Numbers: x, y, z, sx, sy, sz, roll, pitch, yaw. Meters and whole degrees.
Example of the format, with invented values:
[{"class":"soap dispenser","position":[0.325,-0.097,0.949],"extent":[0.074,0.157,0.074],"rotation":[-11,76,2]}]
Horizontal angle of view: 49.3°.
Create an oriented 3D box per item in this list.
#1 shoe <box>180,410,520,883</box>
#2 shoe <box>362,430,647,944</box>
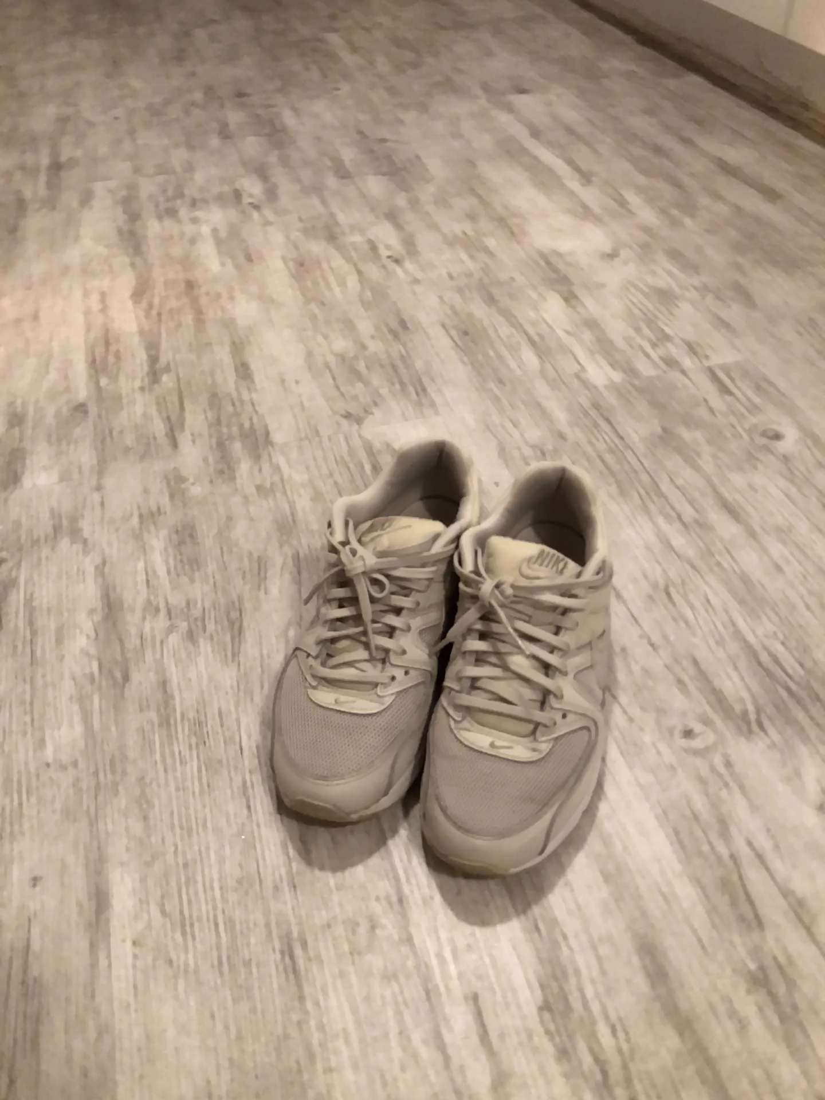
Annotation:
[{"class":"shoe","position":[-0.019,0.043,0.536],"extent":[0.090,0.120,0.251],"rotation":[14,46,17]},{"class":"shoe","position":[0.061,0.060,0.504],"extent":[0.100,0.120,0.251],"rotation":[9,44,12]}]
